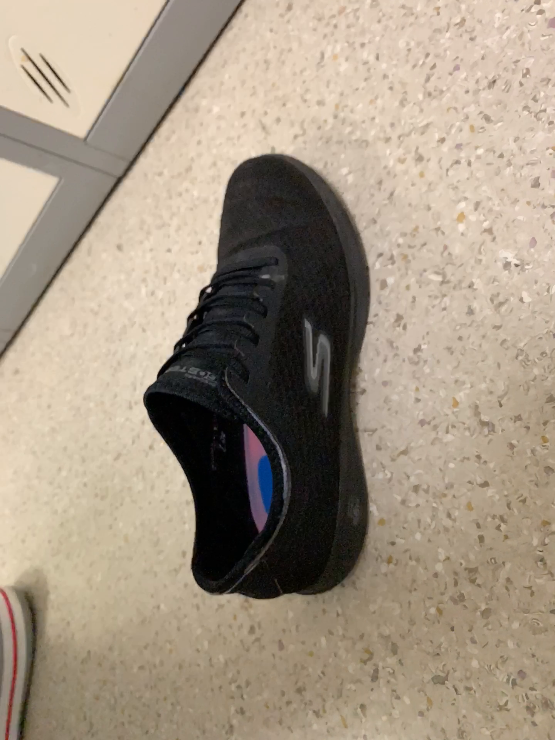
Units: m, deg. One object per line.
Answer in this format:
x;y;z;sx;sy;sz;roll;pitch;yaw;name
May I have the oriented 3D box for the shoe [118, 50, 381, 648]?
-0.015;-0.010;0.337;0.105;0.099;0.280;-8;78;45;shoe
